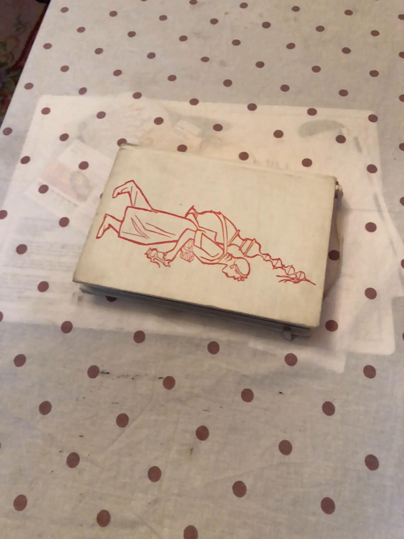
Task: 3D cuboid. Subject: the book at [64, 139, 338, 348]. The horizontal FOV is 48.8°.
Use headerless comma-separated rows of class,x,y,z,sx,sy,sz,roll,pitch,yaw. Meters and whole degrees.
book,0.007,-0.033,0.463,0.240,0.050,0.175,11,66,6
